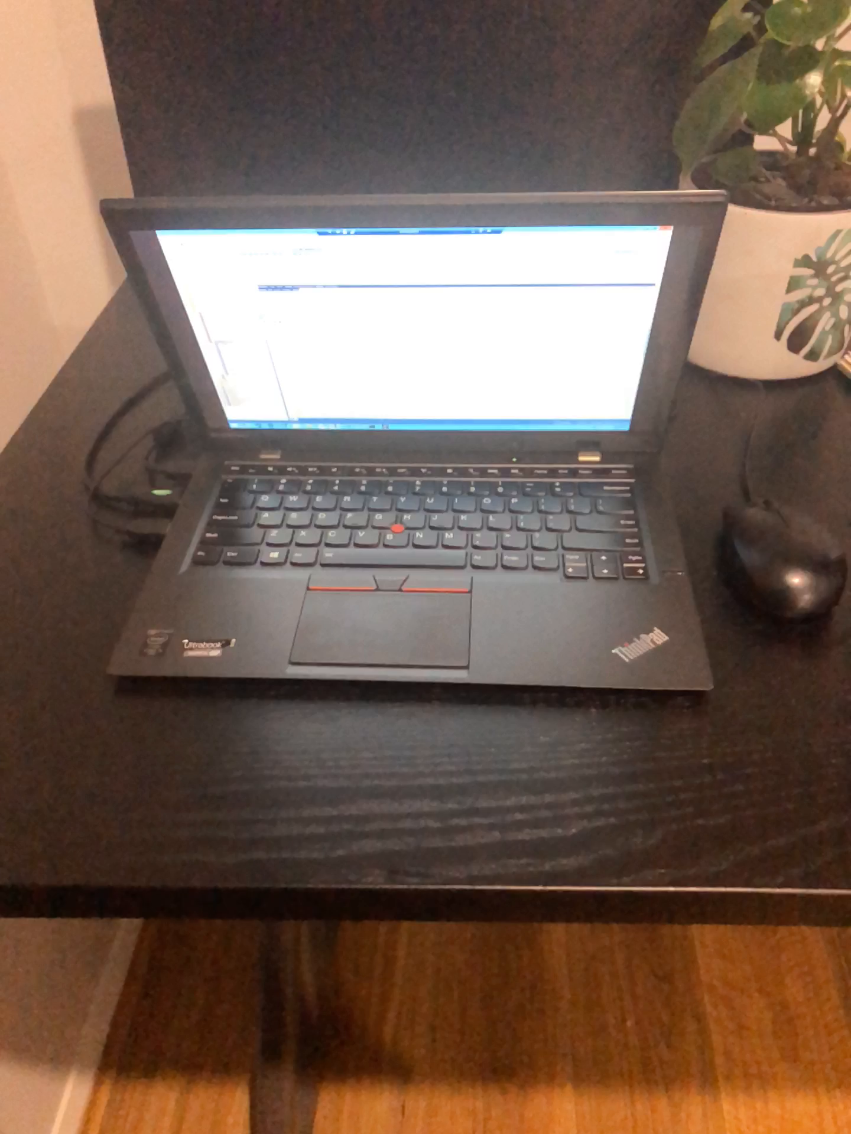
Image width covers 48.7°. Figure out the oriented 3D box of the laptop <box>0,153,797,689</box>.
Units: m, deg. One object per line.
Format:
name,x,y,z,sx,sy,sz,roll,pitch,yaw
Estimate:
laptop,-0.013,-0.095,0.548,0.340,0.214,0.245,0,37,4
